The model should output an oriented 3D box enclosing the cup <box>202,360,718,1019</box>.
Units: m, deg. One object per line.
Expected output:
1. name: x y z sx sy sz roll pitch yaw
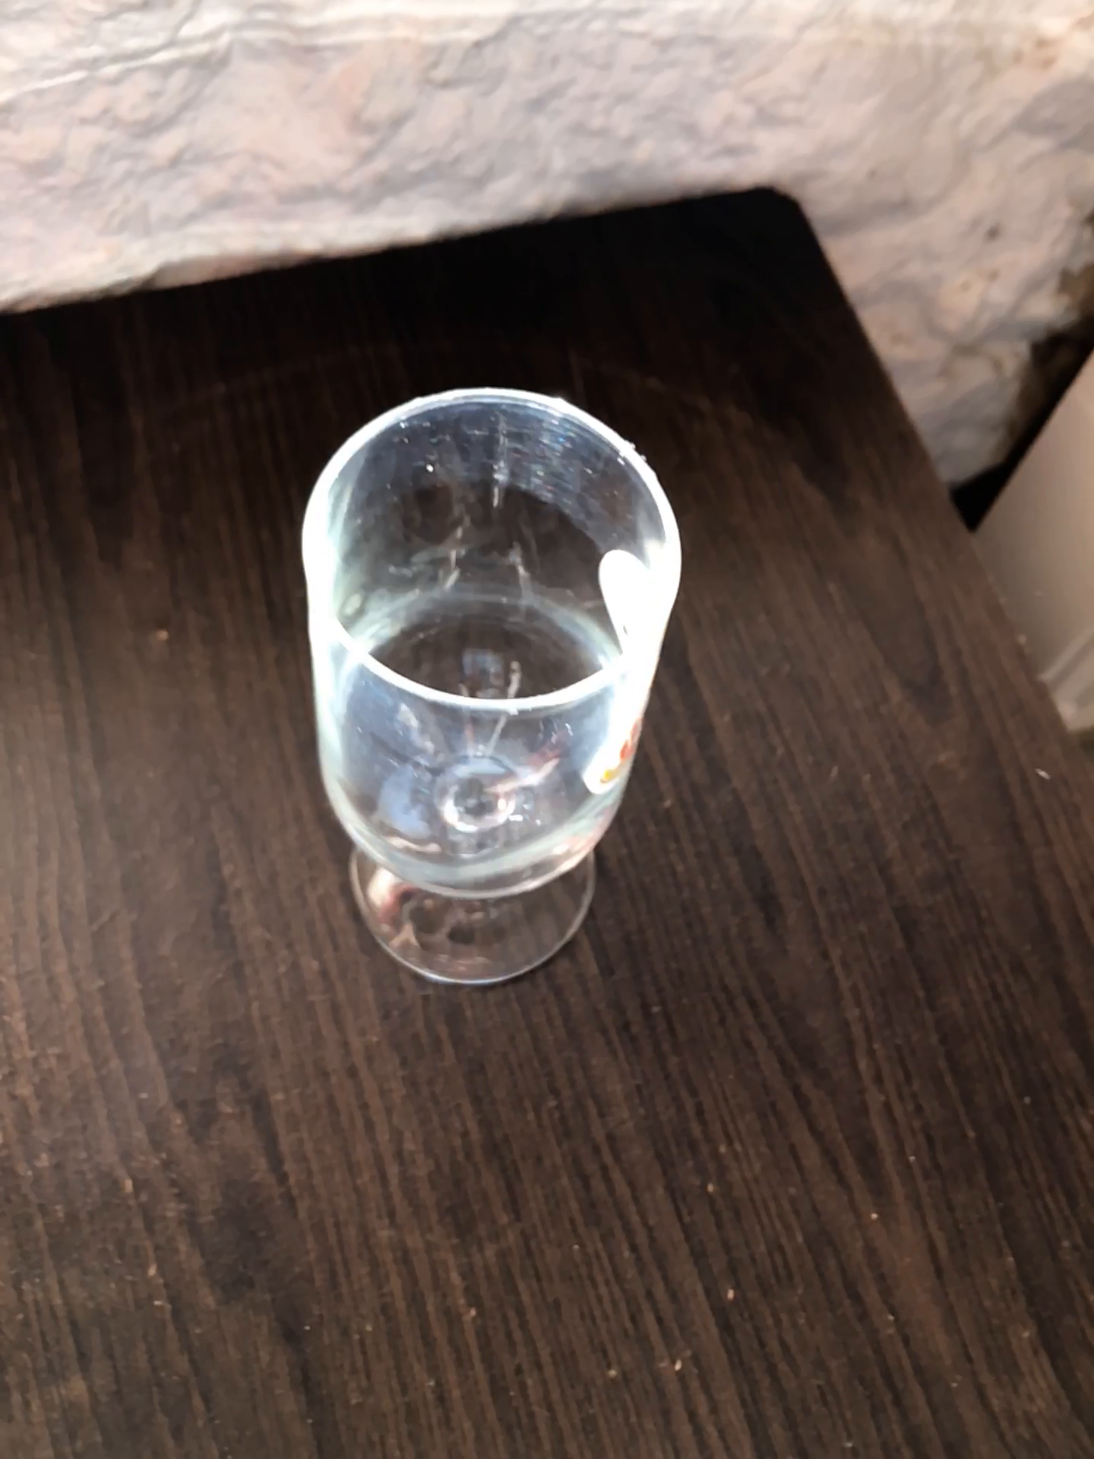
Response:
1. cup: -0.015 0.006 0.260 0.070 0.155 0.067 2 65 -3
